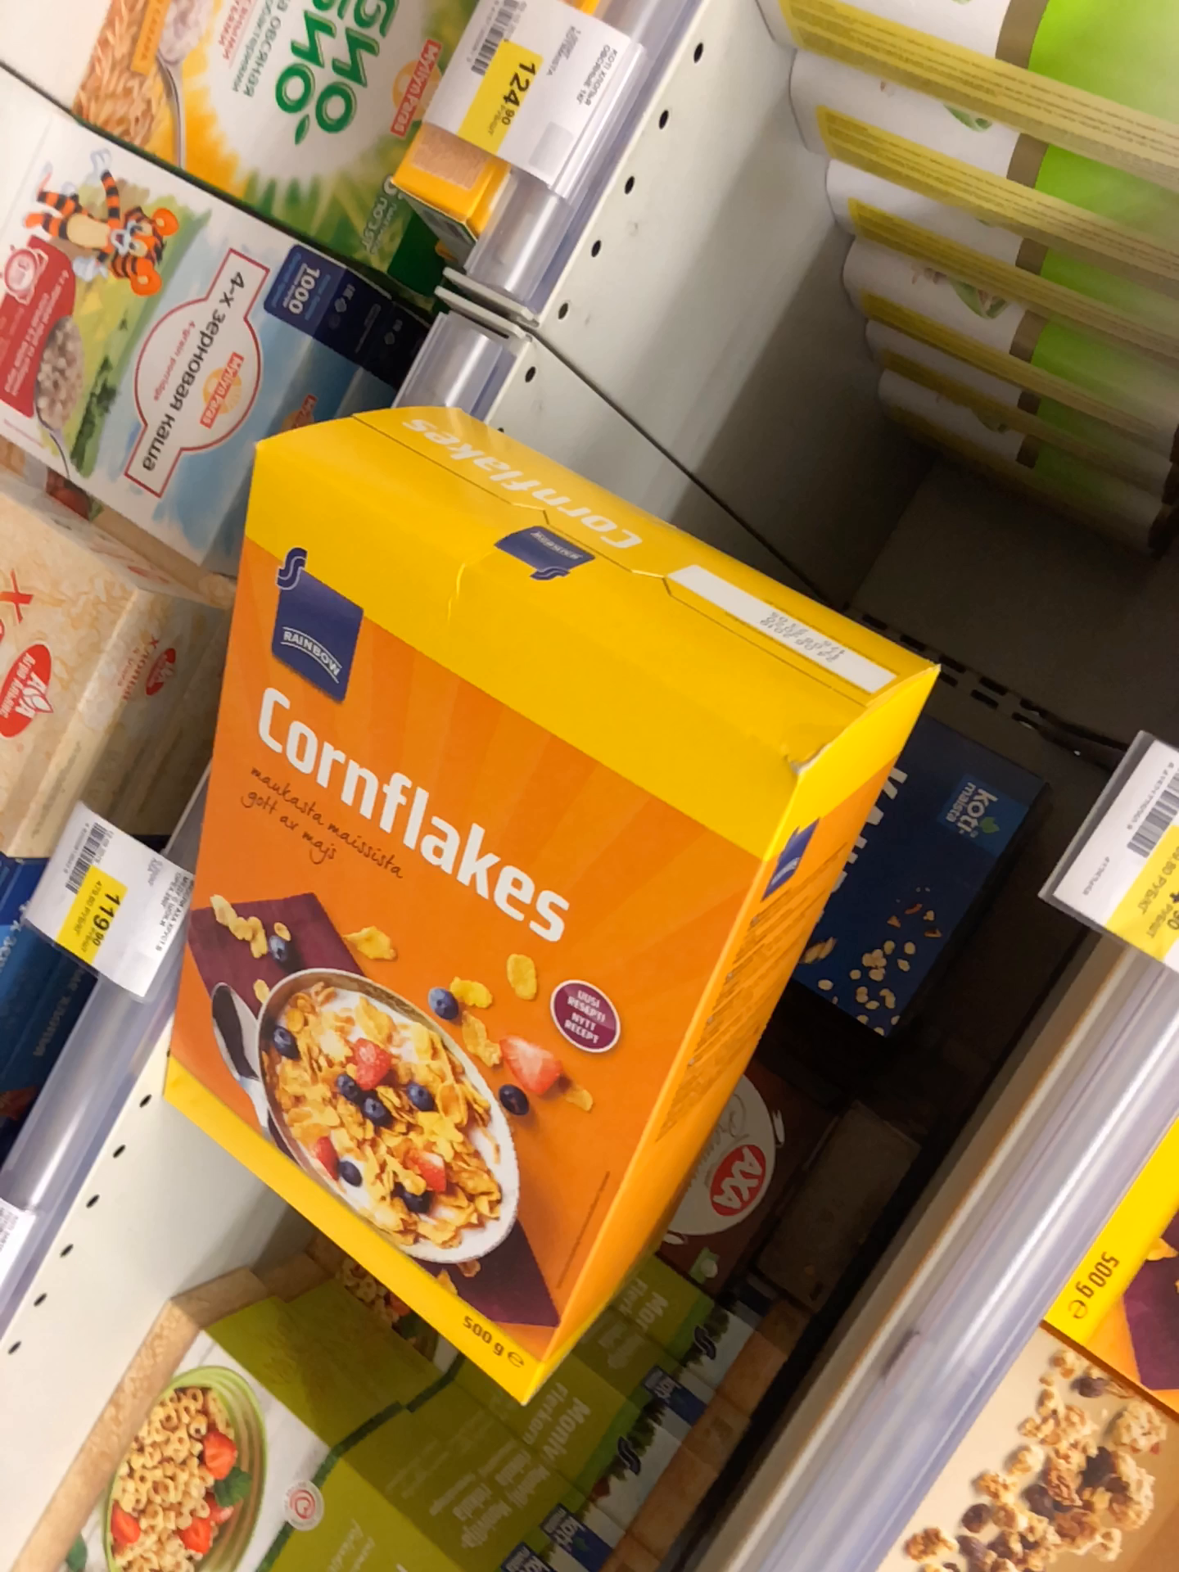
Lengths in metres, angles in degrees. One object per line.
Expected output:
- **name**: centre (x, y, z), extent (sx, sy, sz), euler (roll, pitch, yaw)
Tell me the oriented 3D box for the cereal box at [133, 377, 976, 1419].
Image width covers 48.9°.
- **cereal box**: centre (-0.034, 0.040, 0.463), extent (0.120, 0.199, 0.290), euler (-32, 149, -51)
